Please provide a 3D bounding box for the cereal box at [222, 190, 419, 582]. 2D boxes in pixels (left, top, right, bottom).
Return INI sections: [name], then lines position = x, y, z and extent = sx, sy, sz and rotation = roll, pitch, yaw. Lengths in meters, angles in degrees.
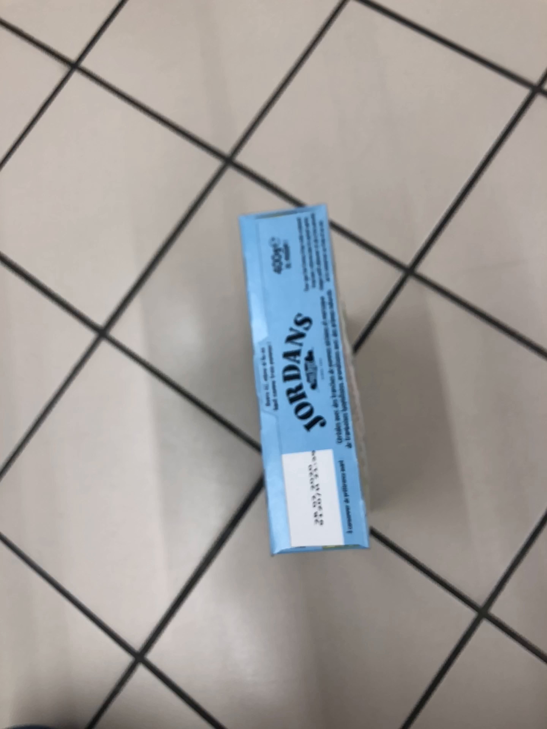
[cereal box]
position = 0.037, 0.025, 0.404
extent = 0.070, 0.230, 0.180
rotation = -9, 79, 8
